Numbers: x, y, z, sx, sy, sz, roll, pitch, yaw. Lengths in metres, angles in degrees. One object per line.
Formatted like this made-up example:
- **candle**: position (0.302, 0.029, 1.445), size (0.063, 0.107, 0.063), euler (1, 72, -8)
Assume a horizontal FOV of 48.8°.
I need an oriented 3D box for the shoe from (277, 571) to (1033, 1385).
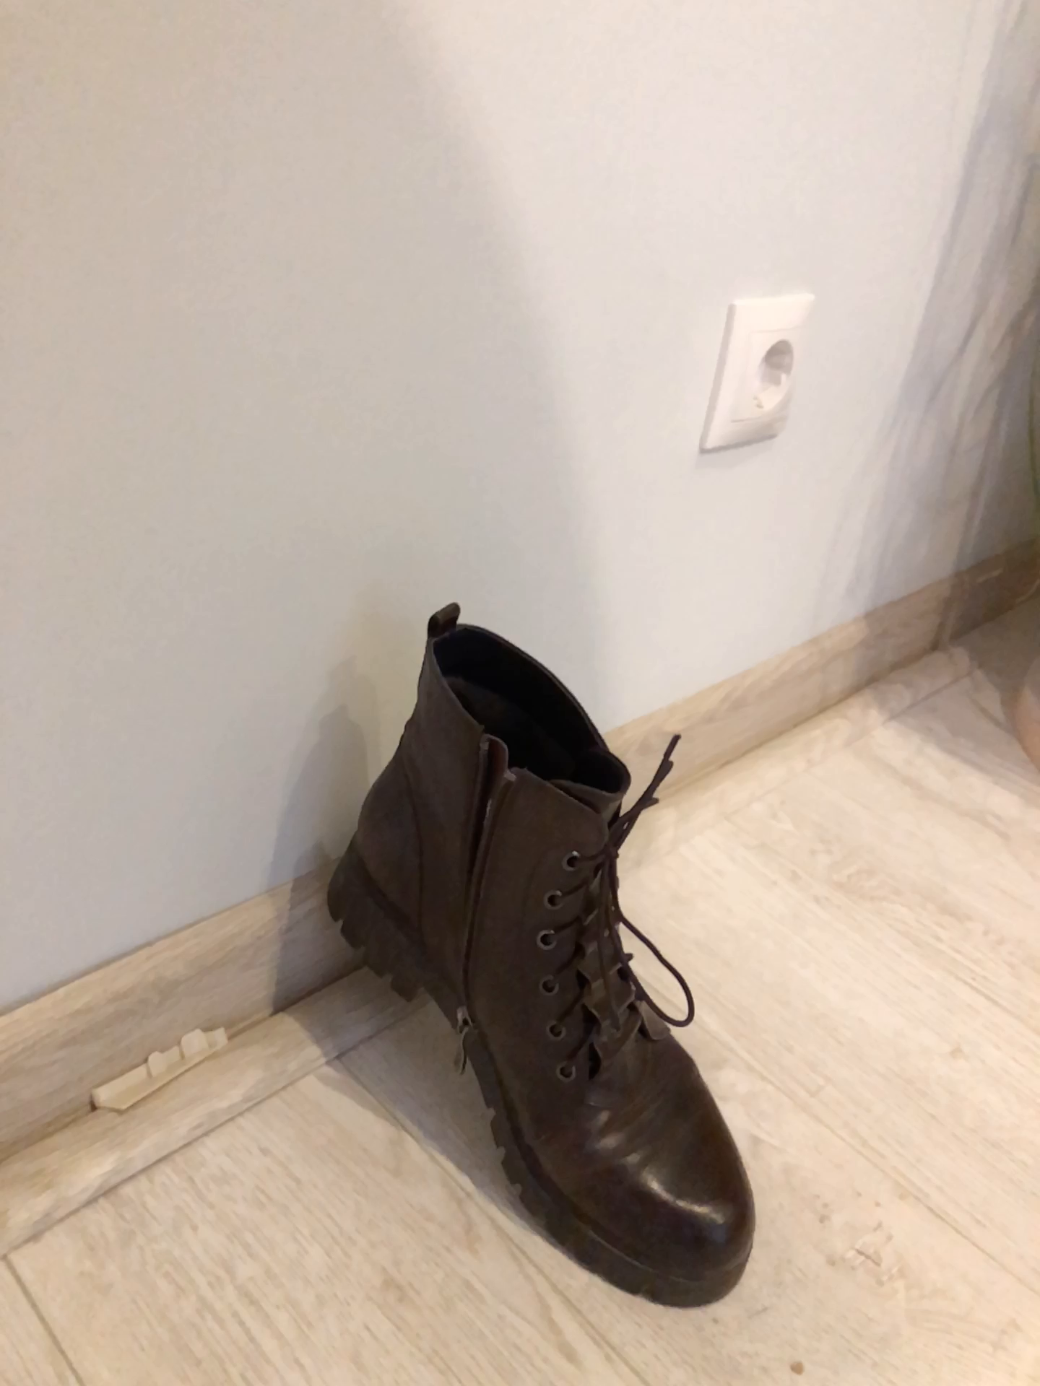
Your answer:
- **shoe**: position (0.032, 0.111, 0.476), size (0.100, 0.179, 0.261), euler (-24, 61, -41)
